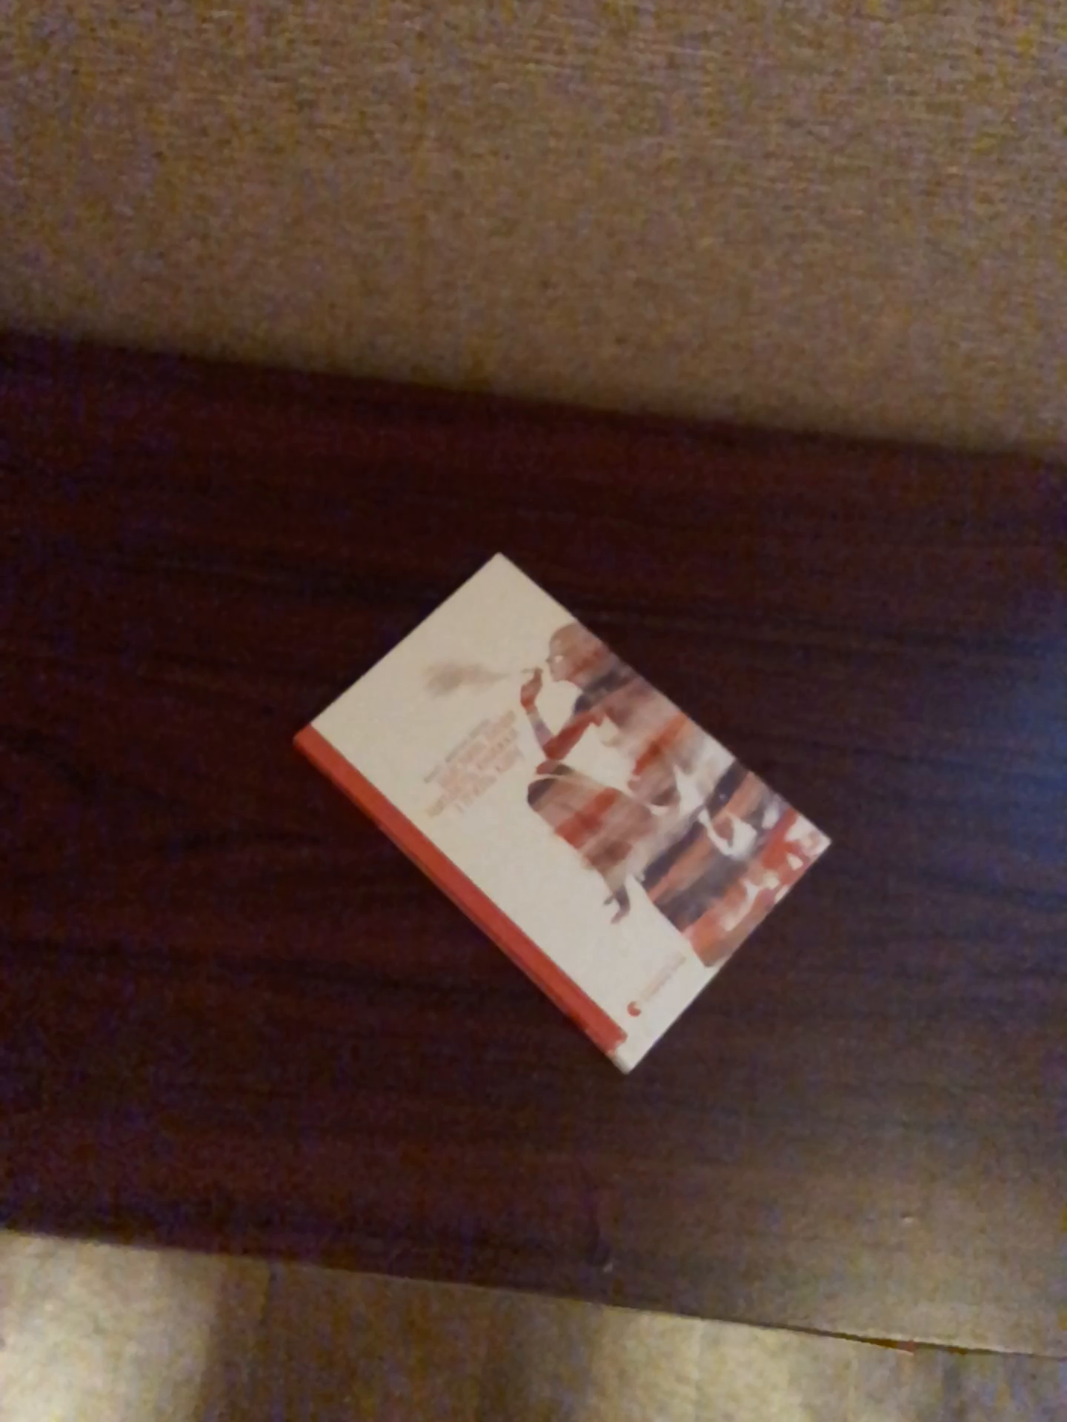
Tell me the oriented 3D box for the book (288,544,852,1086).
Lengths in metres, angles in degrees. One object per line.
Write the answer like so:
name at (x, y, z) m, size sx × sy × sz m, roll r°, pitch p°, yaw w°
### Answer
book at (0.016, 0.042, 0.573) m, size 0.227 × 0.020 × 0.150 m, roll 42°, pitch 73°, yaw 13°
